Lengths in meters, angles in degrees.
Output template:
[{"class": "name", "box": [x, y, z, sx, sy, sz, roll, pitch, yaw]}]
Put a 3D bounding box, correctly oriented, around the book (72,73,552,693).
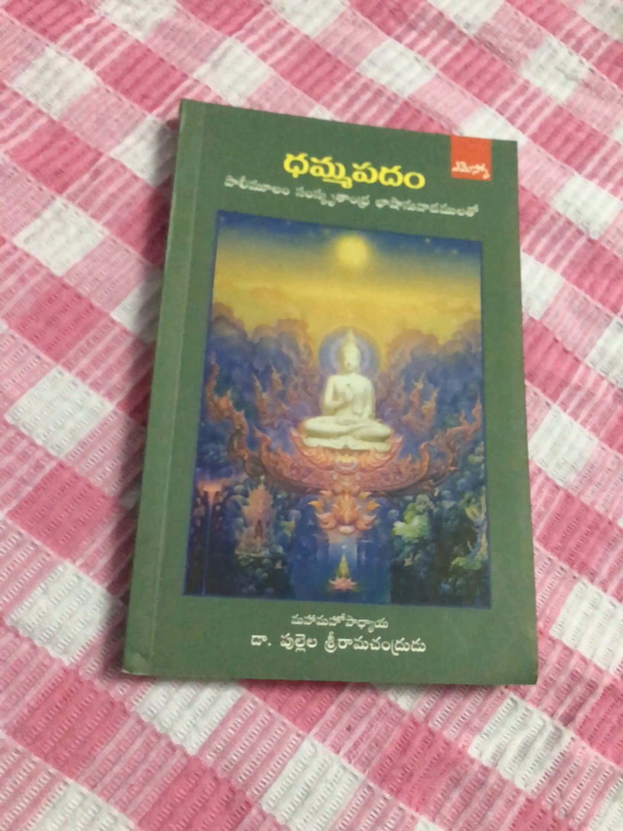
[{"class": "book", "box": [0.005, -0.015, 0.237, 0.140, 0.020, 0.200, 4, 74, -9]}]
